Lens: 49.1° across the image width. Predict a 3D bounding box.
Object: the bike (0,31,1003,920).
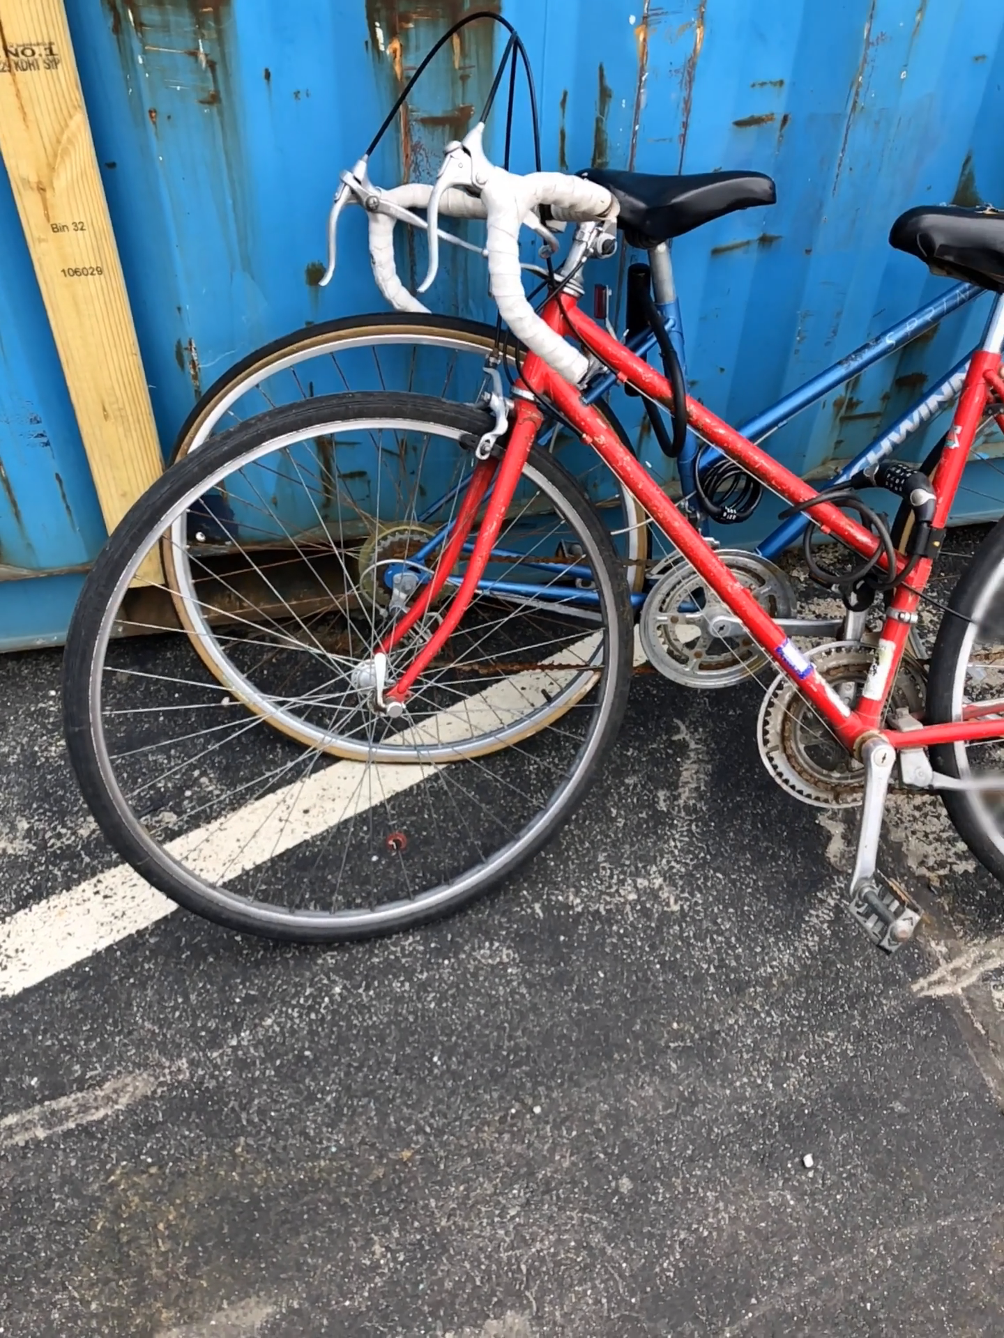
[{"bbox_3d":[0.356,-0.191,1.332,1.640,0.824,0.486,-3,45,-8],"label":"bike"}]
